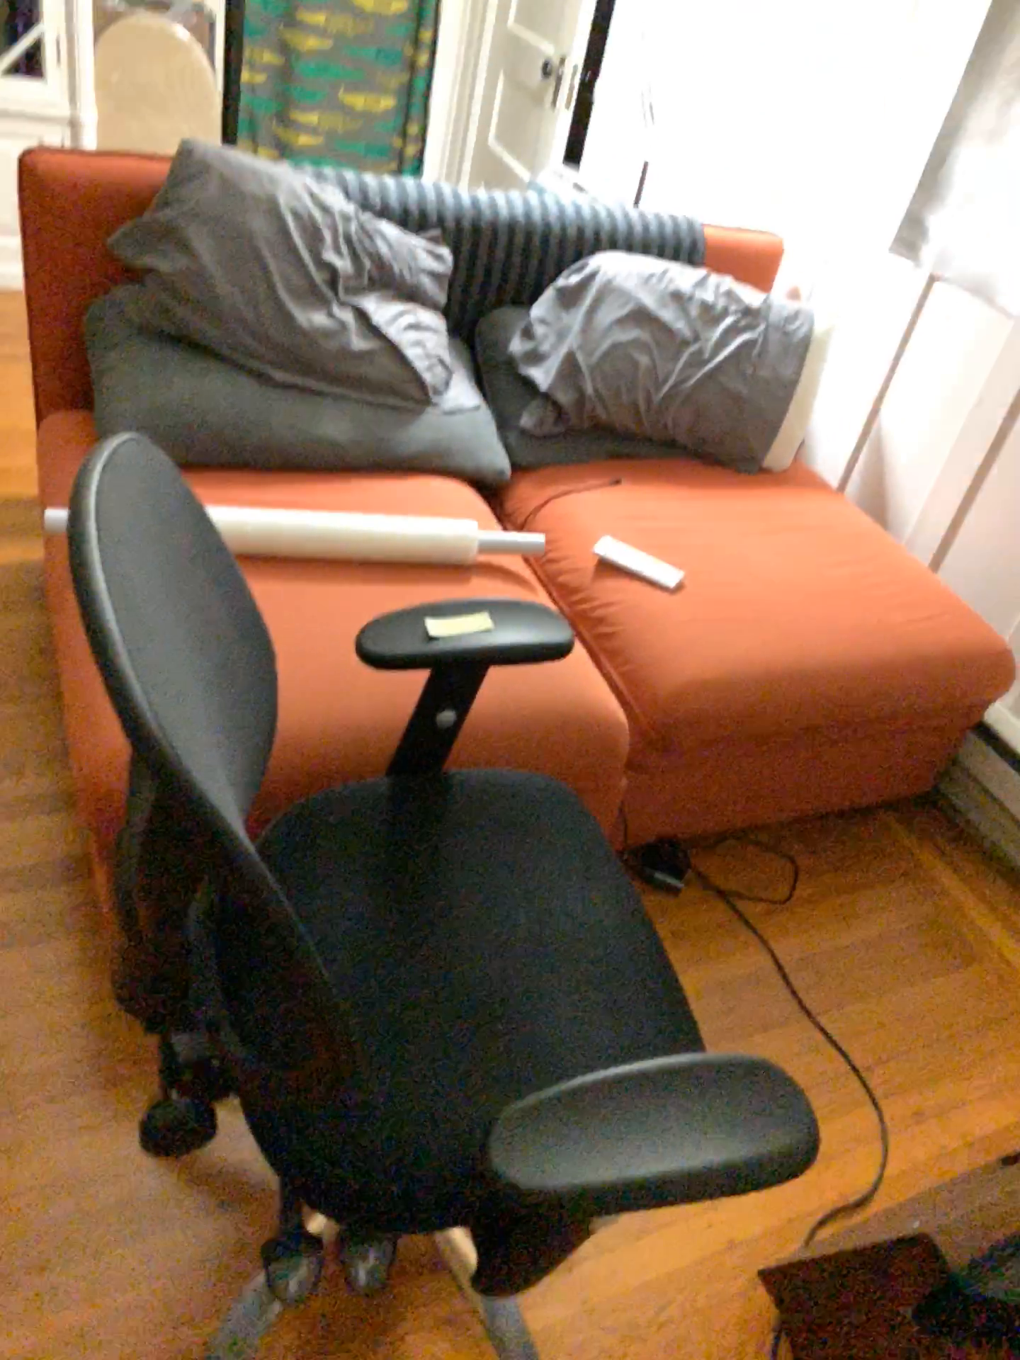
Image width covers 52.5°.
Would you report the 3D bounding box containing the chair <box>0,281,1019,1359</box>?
[{"bbox_3d":[-0.113,0.224,1.025,0.660,0.975,0.643,-3,40,-15],"label":"chair"}]
